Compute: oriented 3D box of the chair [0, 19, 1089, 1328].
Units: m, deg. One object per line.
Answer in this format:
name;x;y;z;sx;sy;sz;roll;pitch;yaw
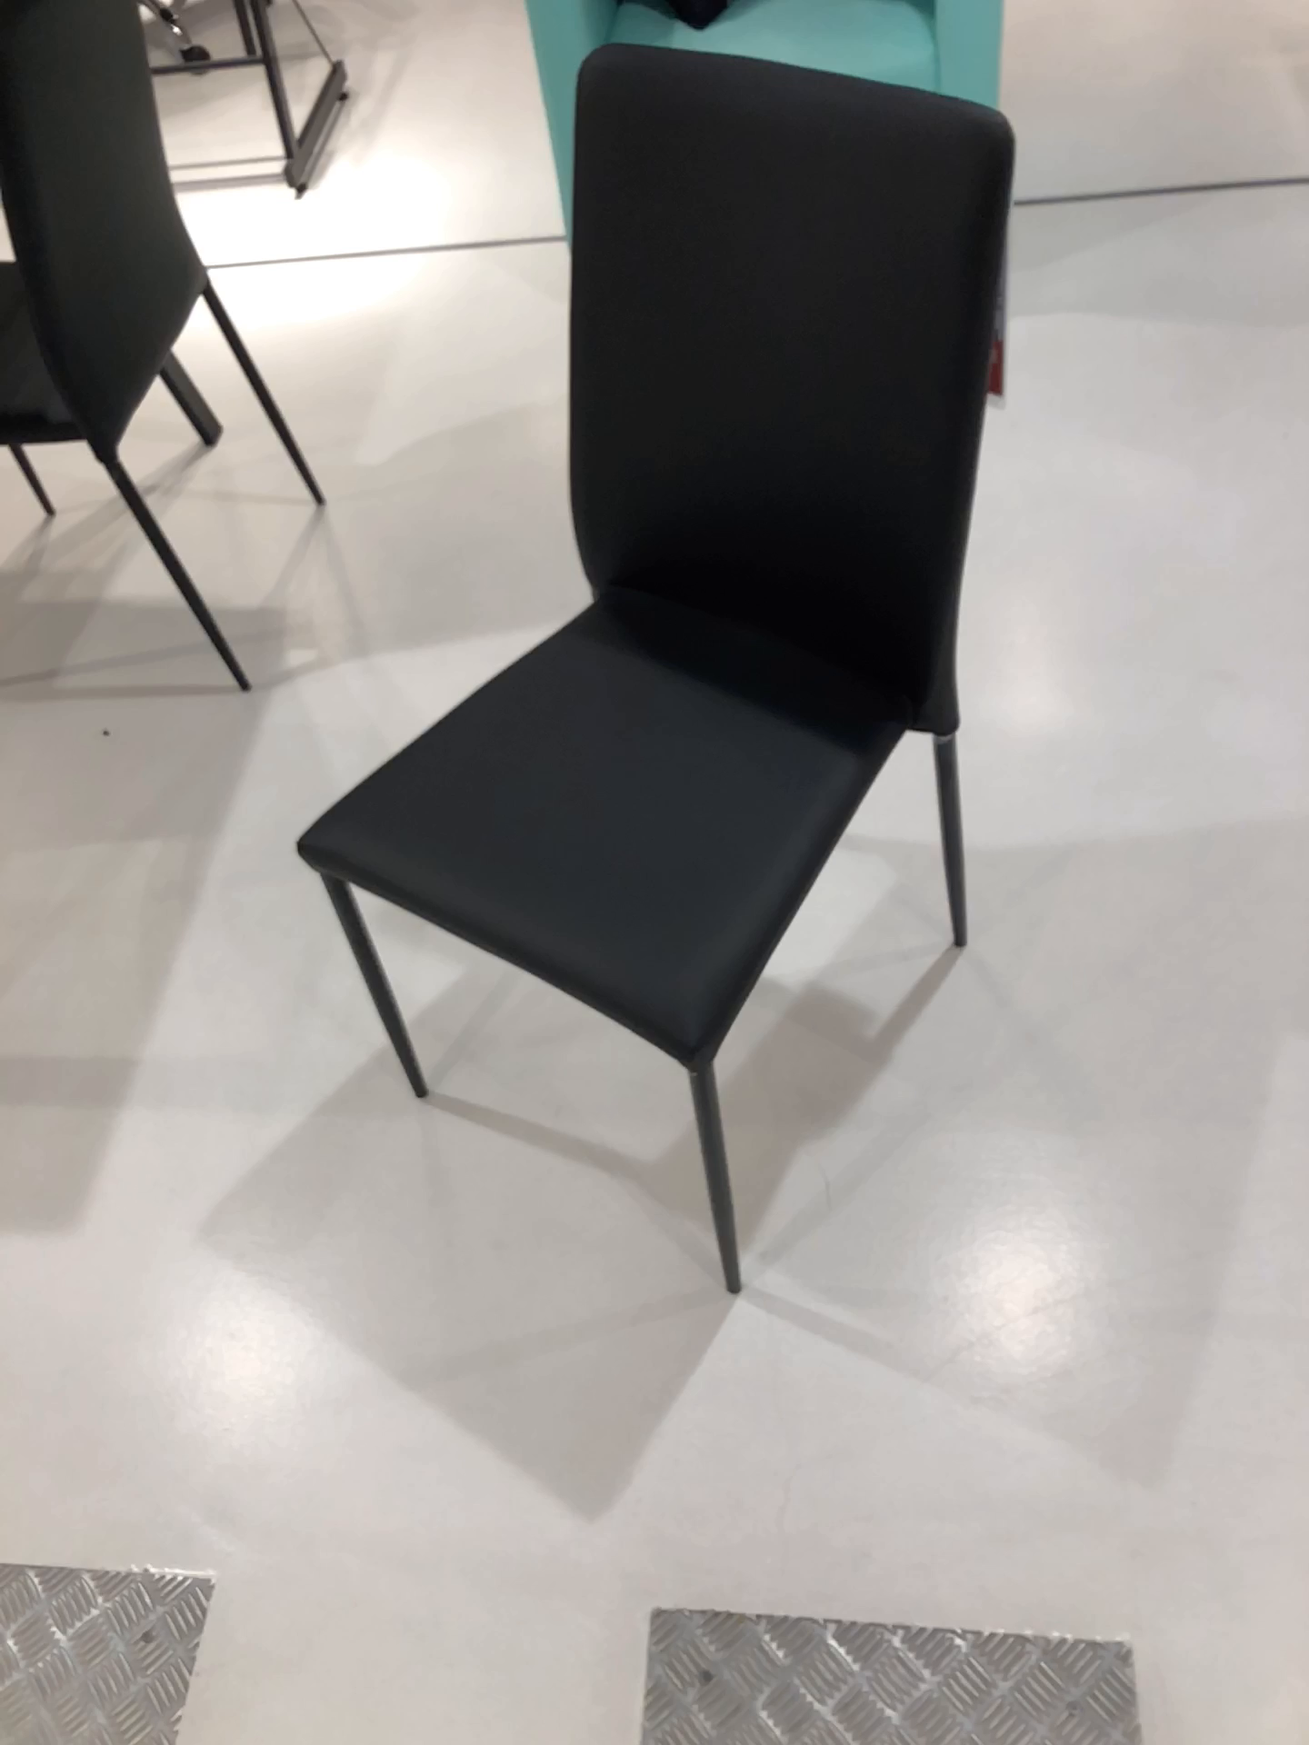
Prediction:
chair;-0.003;-0.132;1.267;0.451;0.864;0.602;24;59;26
